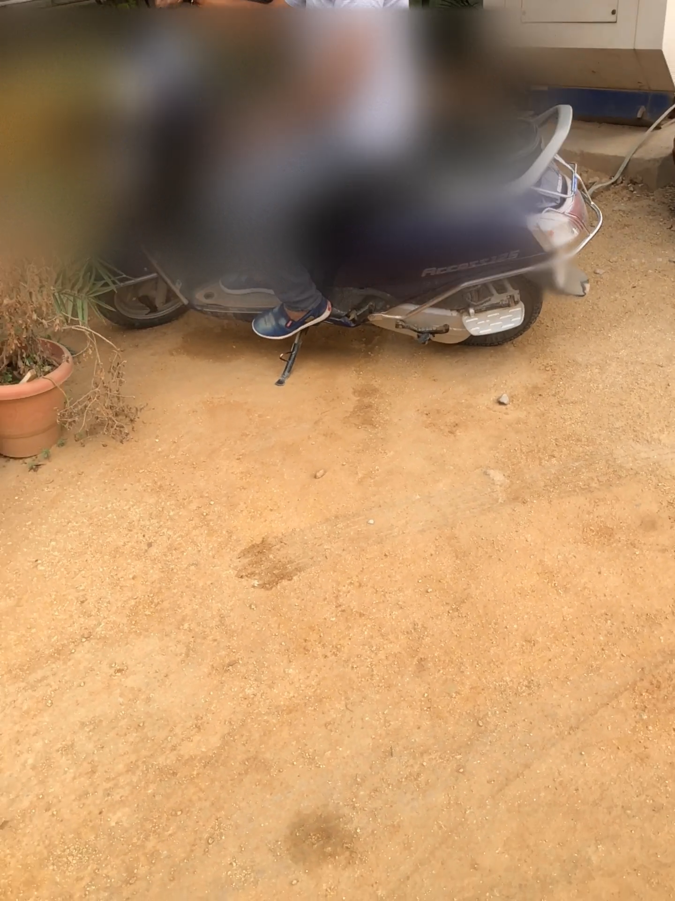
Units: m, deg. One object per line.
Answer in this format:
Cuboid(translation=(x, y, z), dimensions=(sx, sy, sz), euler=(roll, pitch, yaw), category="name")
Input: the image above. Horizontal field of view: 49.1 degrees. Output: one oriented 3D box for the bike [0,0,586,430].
Cuboid(translation=(-0.160, -0.779, 2.349), dimensions=(1.620, 1.222, 0.591), euler=(2, 37, 11), category="bike")
